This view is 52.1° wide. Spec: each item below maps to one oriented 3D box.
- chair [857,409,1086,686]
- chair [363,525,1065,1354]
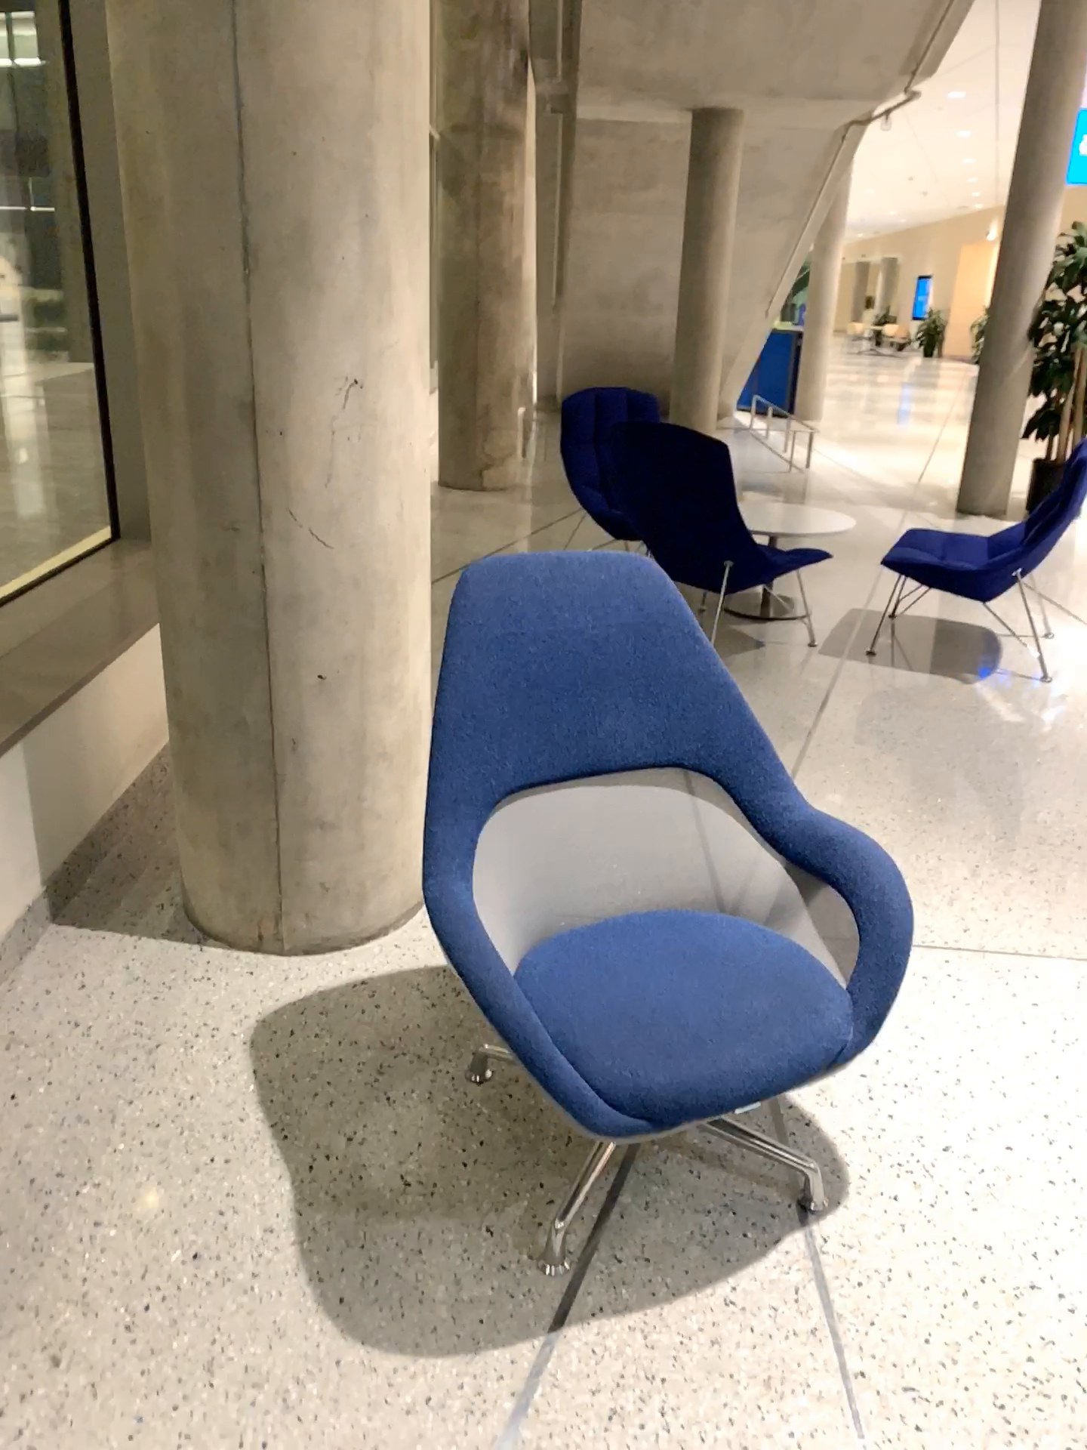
[{"bbox_3d":[1.865,-0.796,4.703,0.781,0.918,0.889,11,23,22],"label":"chair"},{"bbox_3d":[0.198,0.253,1.810,0.816,0.998,0.634,-7,23,-24],"label":"chair"}]
